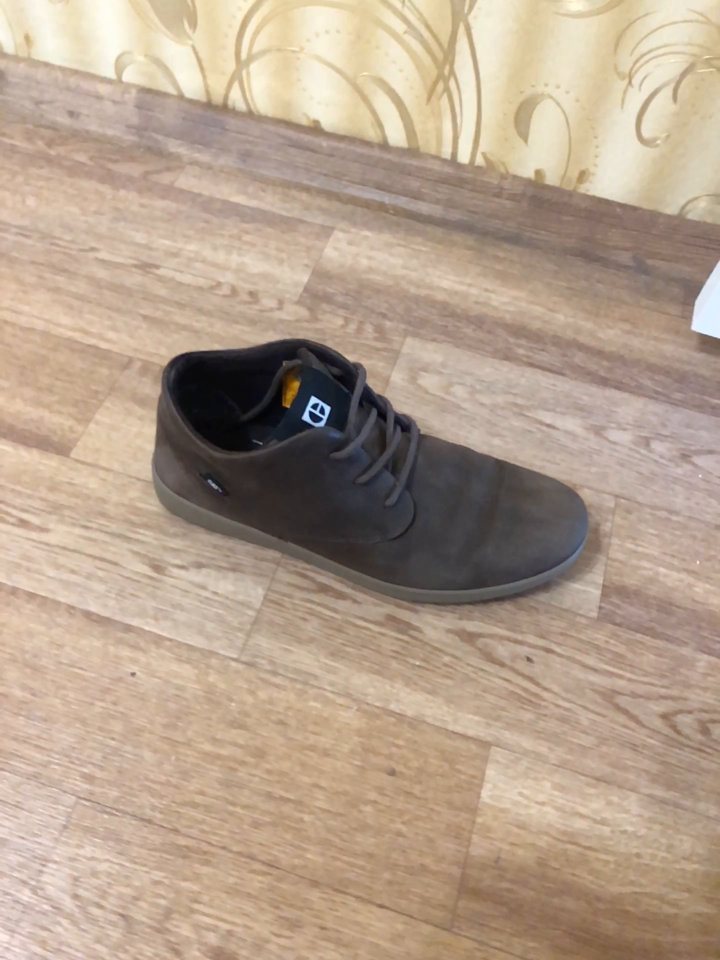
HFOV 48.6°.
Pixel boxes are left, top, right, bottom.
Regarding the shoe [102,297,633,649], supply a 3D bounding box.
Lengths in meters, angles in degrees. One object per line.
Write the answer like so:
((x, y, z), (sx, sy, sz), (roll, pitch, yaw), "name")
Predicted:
((0.005, -0.005, 0.472), (0.270, 0.100, 0.100), (16, 57, 6), "shoe")
